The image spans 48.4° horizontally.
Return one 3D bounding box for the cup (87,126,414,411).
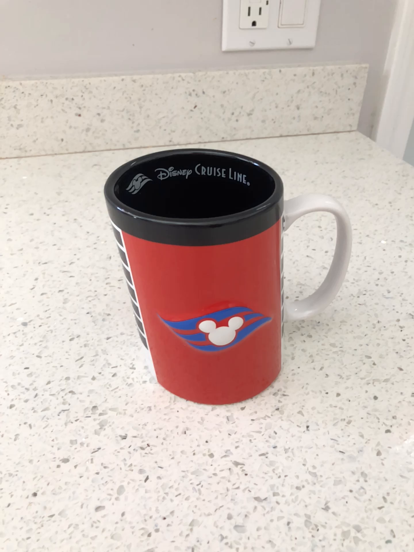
[{"bbox_3d":[0.015,-0.007,0.242,0.130,0.110,0.090,-4,36,-6],"label":"cup"}]
